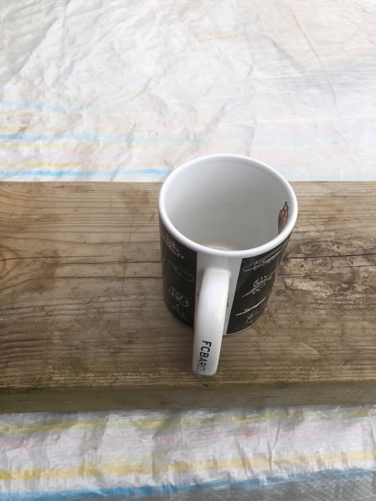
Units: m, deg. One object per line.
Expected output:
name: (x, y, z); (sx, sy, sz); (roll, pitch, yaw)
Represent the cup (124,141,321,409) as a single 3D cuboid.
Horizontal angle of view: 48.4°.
cup: (0.021, 0.014, 0.264); (0.090, 0.089, 0.131); (8, 52, 2)
